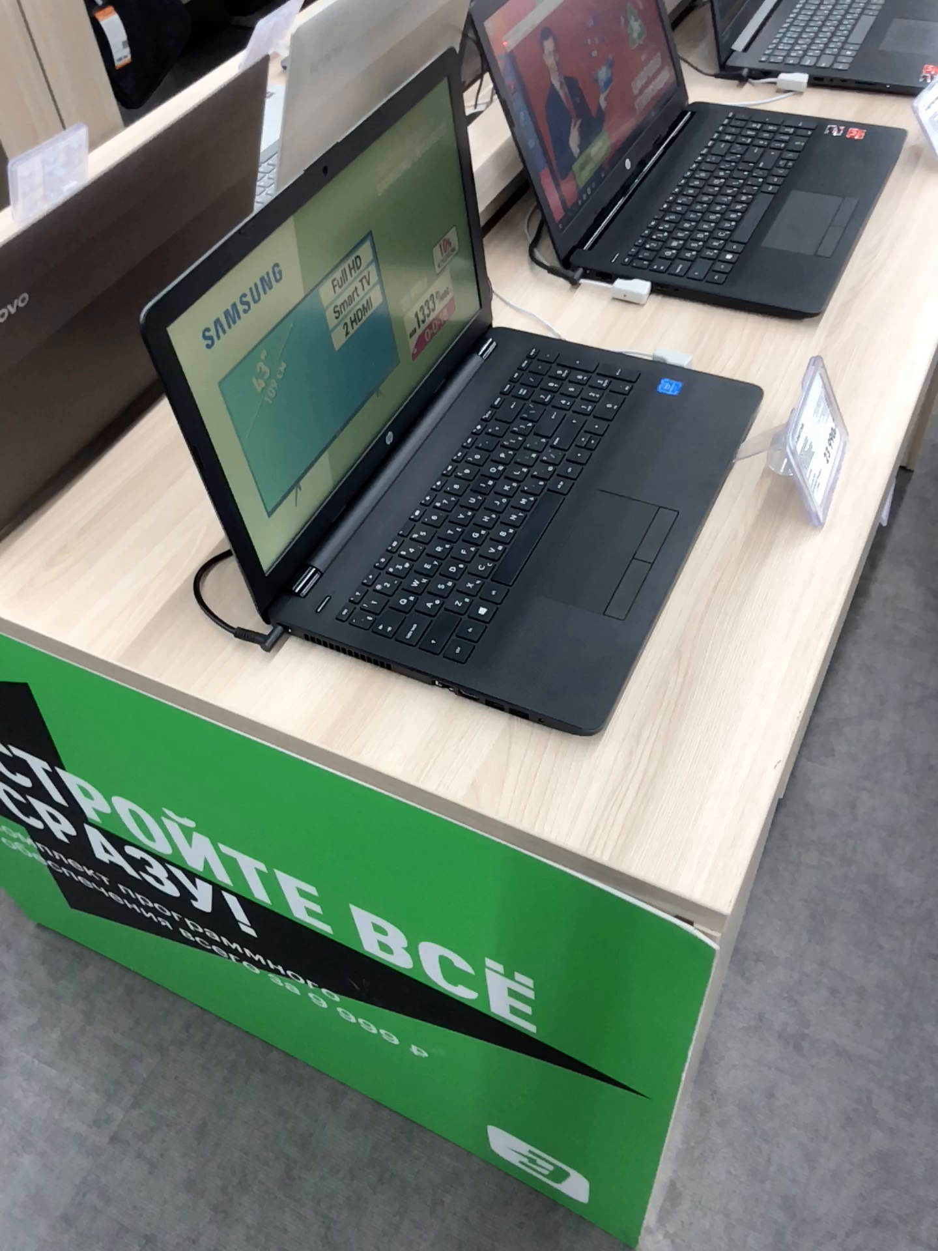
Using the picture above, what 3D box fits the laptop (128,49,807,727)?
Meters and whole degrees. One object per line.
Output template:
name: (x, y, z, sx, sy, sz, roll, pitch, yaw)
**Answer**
laptop: (0.027, -0.181, 0.697, 0.273, 0.222, 0.363, 19, 53, 18)
